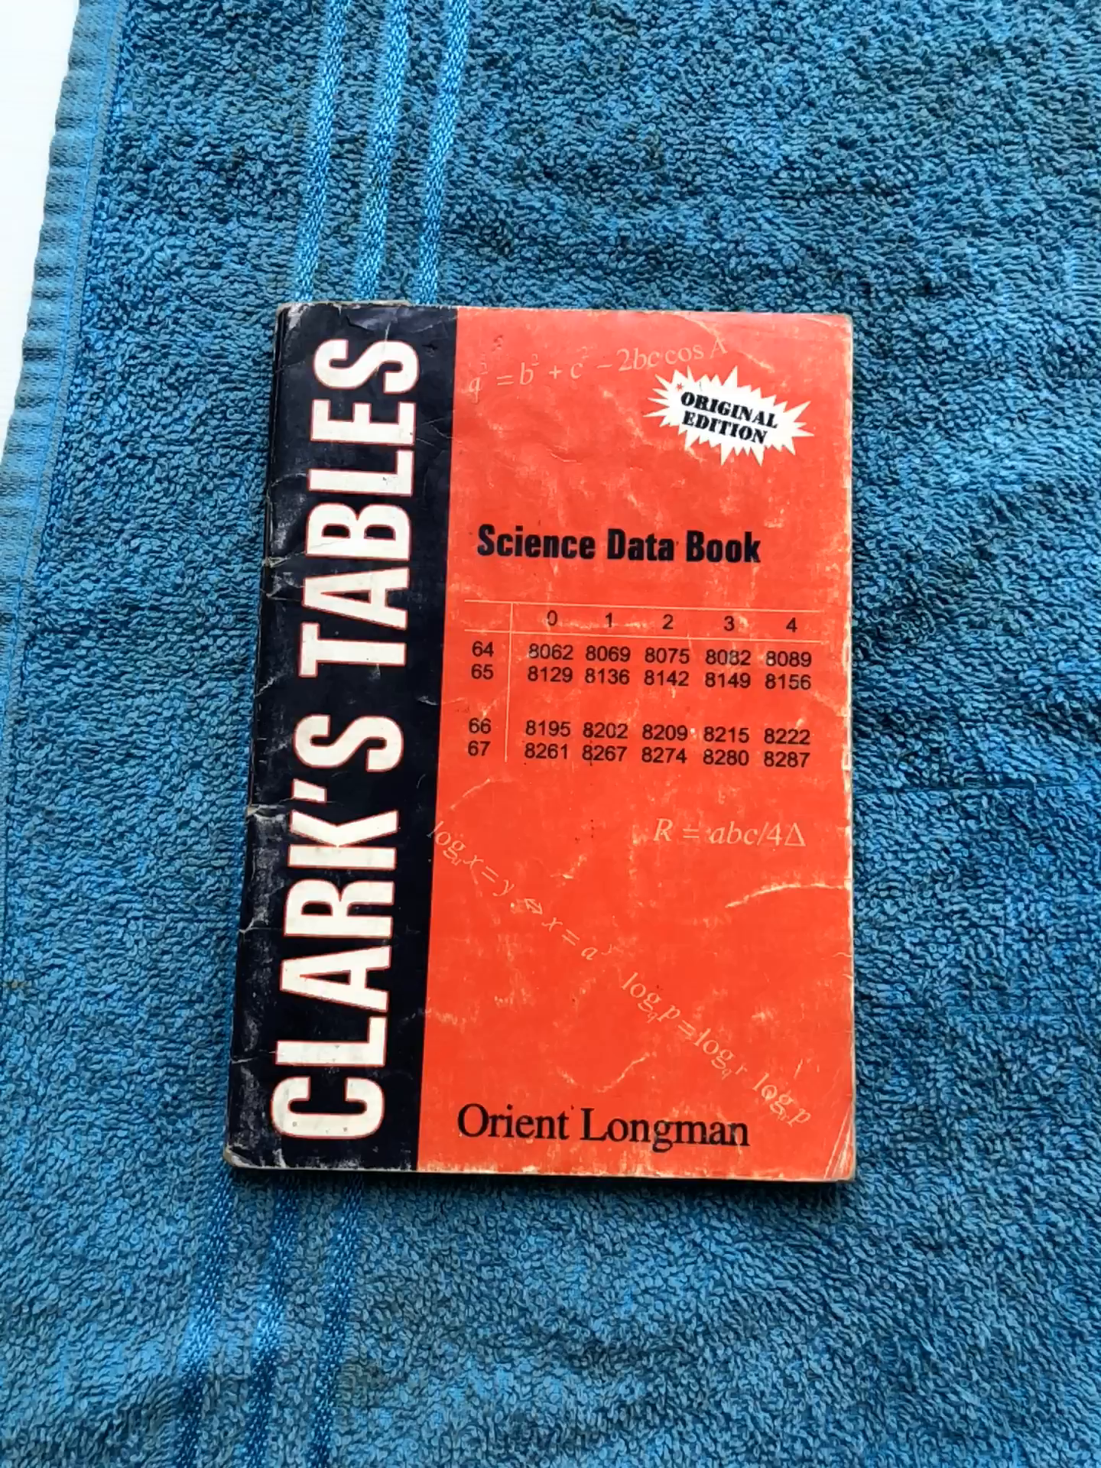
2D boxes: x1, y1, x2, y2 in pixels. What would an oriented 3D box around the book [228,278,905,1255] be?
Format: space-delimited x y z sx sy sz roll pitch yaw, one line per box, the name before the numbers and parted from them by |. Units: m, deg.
book | 0.005 0.004 0.244 0.120 0.030 0.180 1 83 -1
